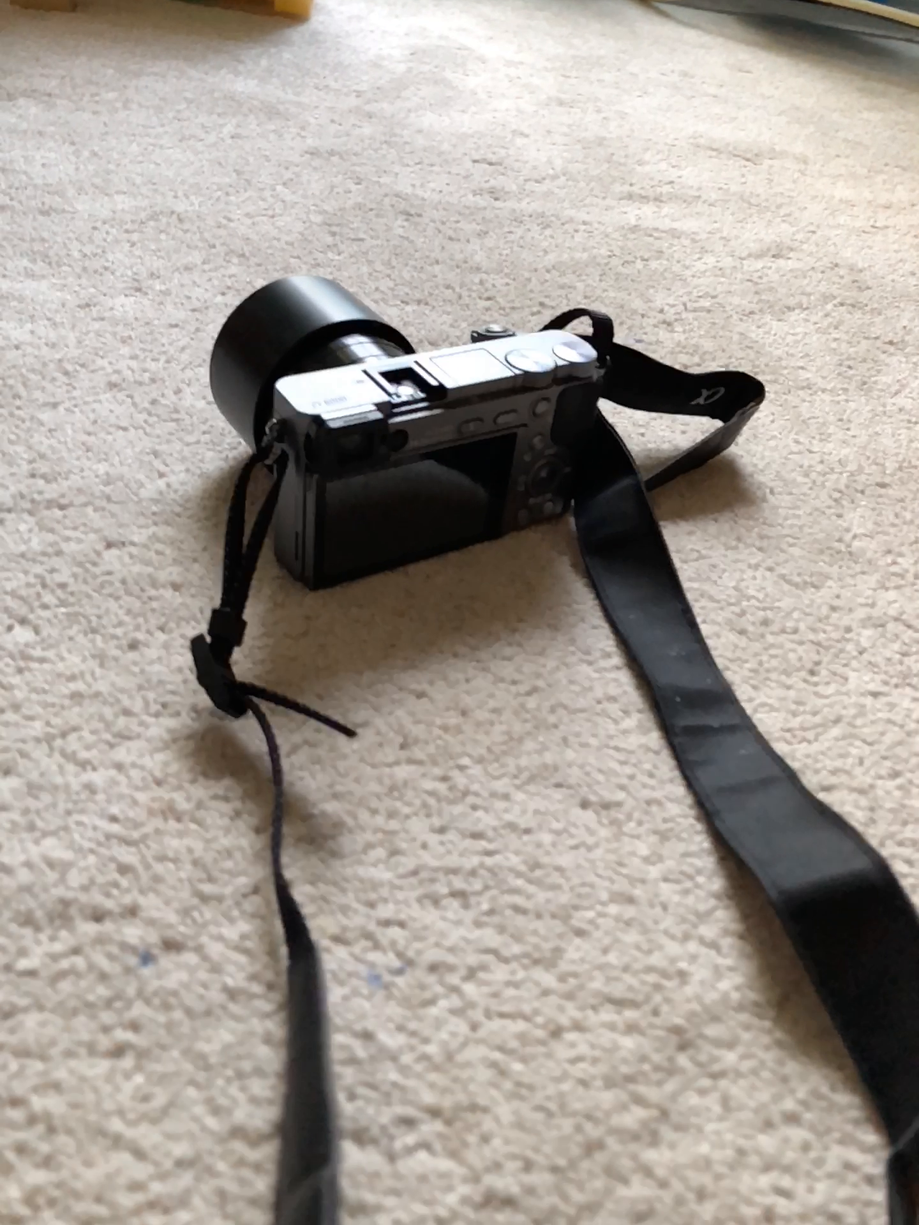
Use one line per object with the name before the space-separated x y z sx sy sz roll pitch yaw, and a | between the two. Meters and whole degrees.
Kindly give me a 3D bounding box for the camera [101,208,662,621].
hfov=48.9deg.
camera | -0.028 -0.076 0.341 0.140 0.070 0.110 -19 47 -31
